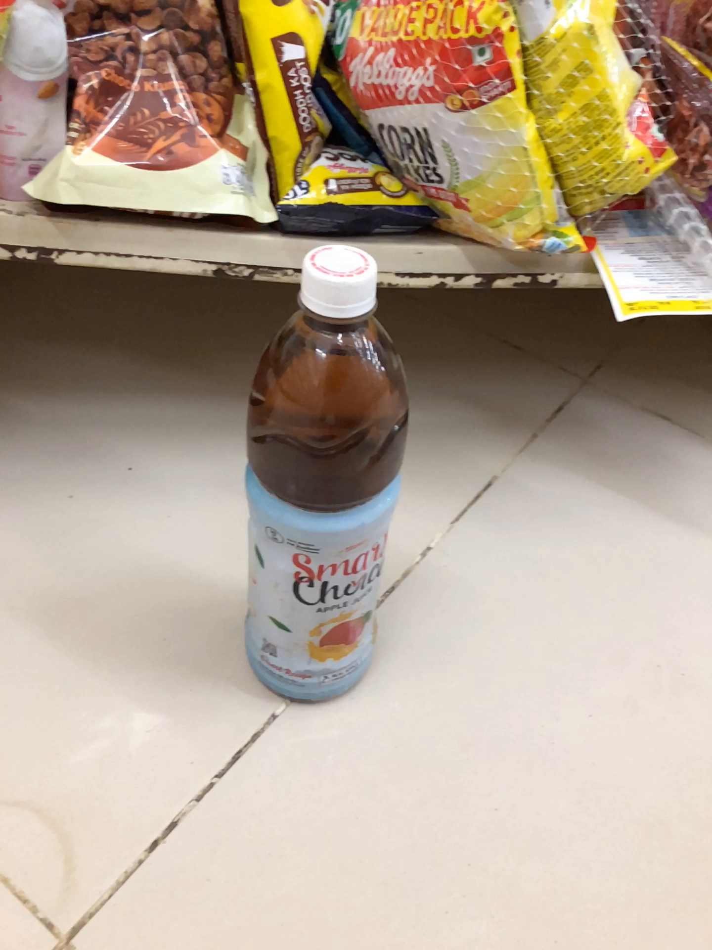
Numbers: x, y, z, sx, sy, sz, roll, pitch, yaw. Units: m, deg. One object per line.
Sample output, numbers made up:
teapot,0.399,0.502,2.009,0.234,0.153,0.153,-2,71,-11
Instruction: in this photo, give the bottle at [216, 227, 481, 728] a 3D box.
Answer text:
bottle,-0.017,0.016,0.391,0.080,0.248,0.080,4,43,-4
